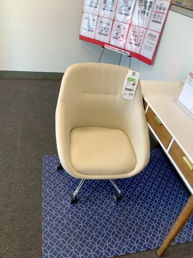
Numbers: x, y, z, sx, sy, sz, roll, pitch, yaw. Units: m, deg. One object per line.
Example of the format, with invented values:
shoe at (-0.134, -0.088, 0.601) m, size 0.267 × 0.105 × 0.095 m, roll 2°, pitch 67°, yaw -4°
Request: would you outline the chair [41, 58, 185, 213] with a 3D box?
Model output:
chair at (-0.013, 0.018, 1.358) m, size 0.670 × 0.736 × 0.694 m, roll -1°, pitch 39°, yaw -13°
